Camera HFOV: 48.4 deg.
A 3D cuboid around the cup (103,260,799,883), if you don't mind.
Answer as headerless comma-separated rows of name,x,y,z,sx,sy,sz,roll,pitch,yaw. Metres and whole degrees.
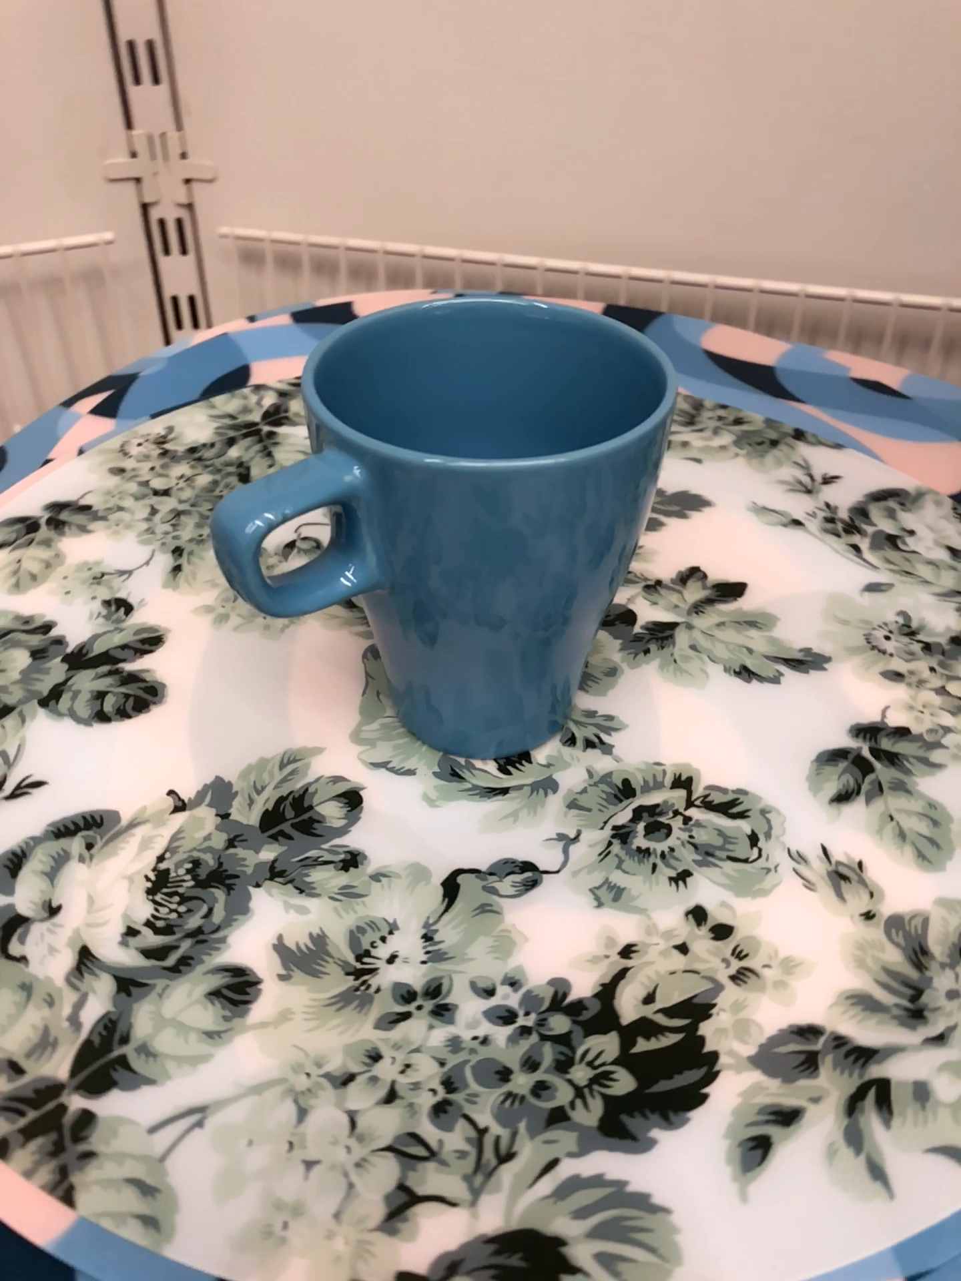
cup,-0.004,-0.027,0.253,0.120,0.080,0.090,-29,45,-34
